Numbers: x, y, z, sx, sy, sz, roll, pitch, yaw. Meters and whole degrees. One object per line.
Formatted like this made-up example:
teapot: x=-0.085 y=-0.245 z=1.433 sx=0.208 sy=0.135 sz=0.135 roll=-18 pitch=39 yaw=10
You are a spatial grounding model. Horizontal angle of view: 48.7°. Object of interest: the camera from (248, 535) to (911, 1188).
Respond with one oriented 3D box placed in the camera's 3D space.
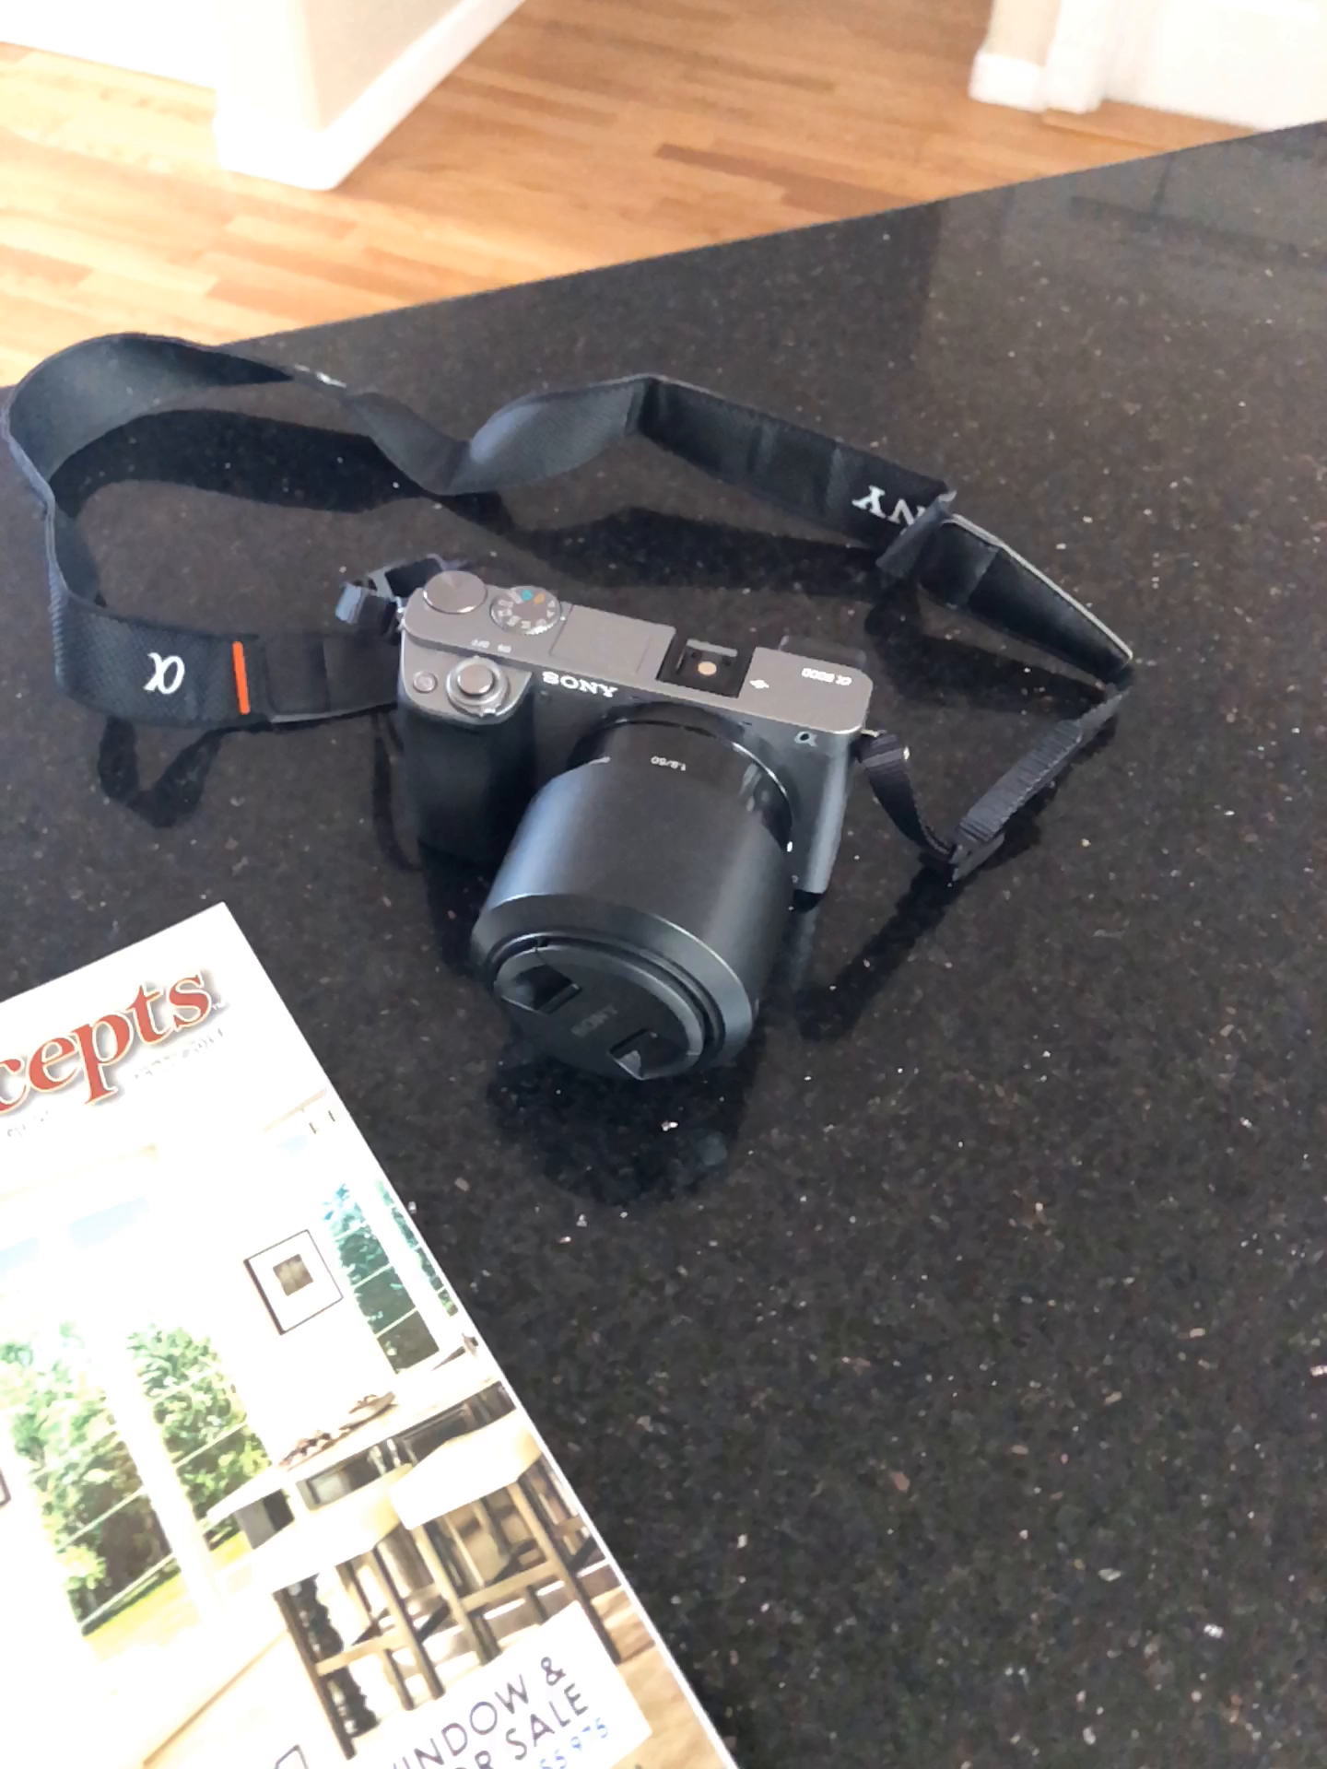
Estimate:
camera: x=-0.017 y=-0.006 z=0.375 sx=0.127 sy=0.100 sz=0.100 roll=15 pitch=53 yaw=8
